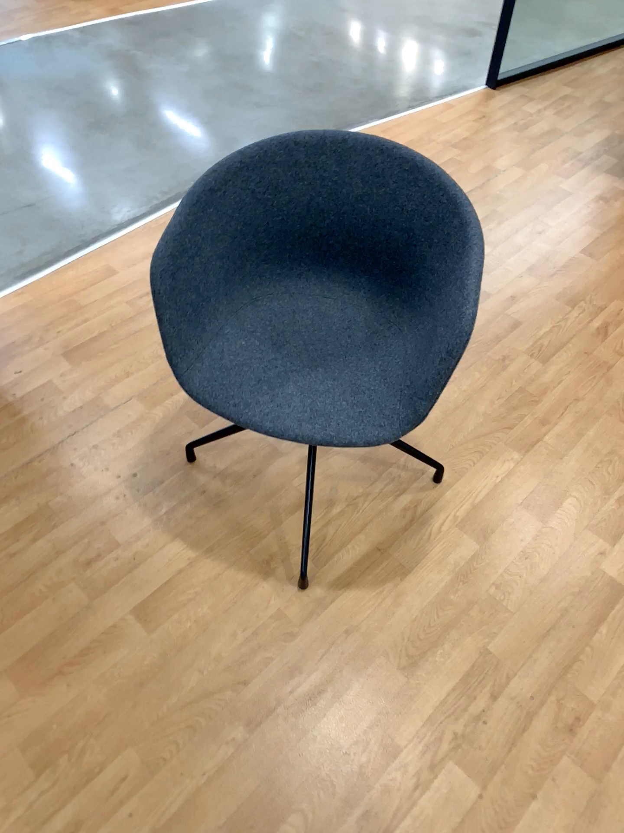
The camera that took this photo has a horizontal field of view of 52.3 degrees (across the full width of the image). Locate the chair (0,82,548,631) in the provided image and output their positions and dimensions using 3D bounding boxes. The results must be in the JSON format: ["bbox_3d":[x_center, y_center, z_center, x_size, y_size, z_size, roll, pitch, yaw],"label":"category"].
[{"bbox_3d":[-0.004,-0.145,1.321,0.710,0.685,0.735,15,50,12],"label":"chair"}]
